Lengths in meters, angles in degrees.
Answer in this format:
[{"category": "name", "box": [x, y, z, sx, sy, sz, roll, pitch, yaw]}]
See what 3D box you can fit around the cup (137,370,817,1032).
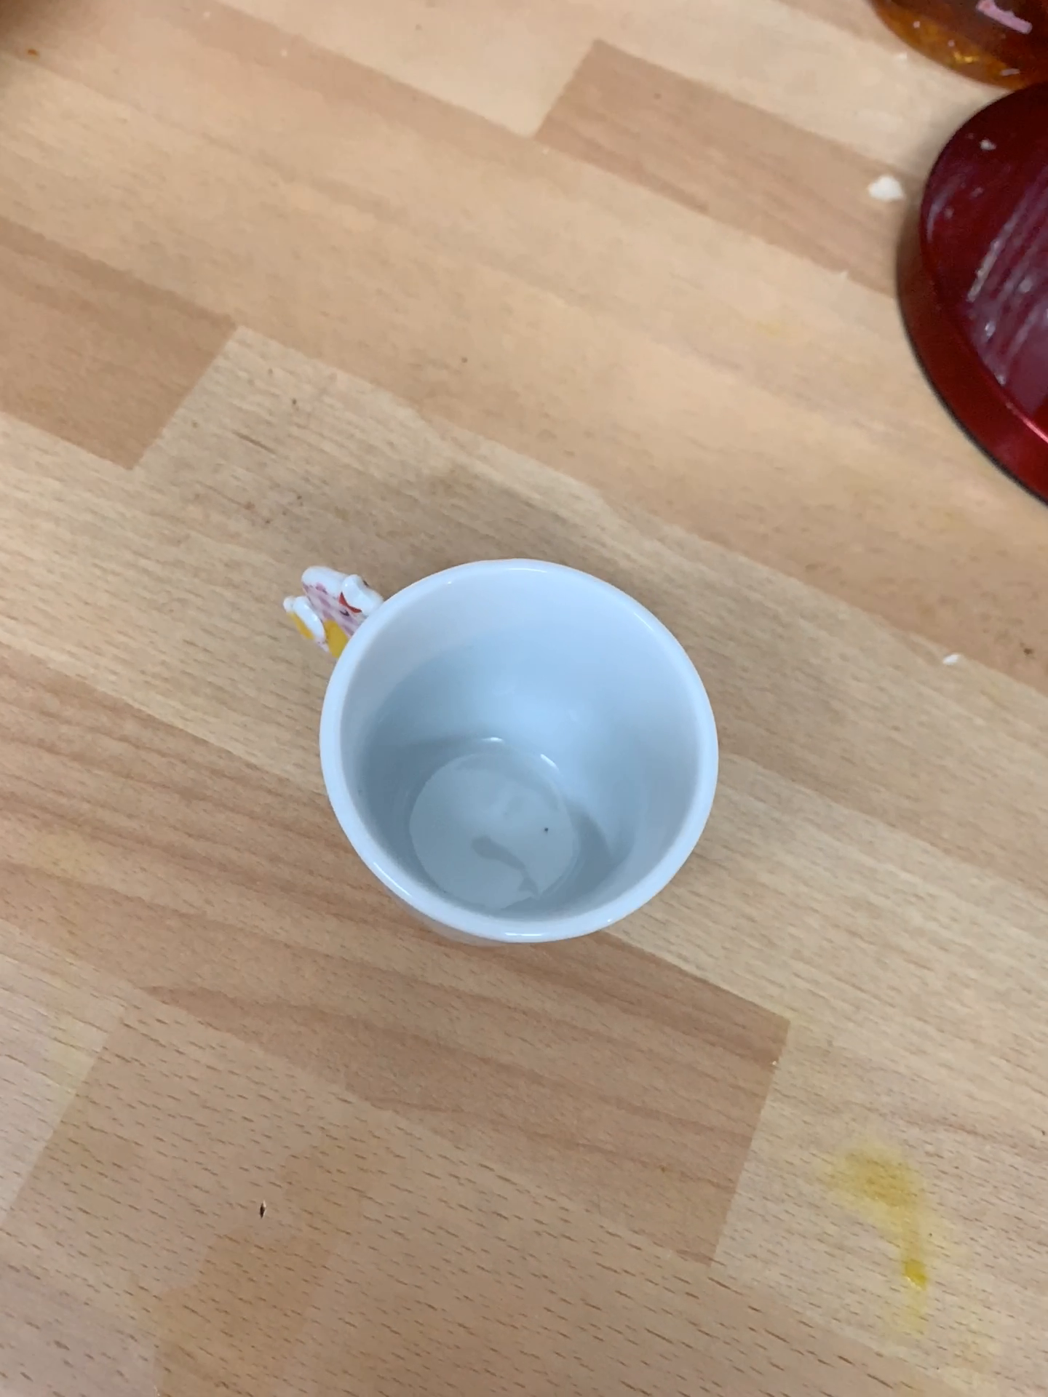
[{"category": "cup", "box": [-0.009, 0.002, 0.183, 0.080, 0.050, 0.060, 41, 68, 9]}]
